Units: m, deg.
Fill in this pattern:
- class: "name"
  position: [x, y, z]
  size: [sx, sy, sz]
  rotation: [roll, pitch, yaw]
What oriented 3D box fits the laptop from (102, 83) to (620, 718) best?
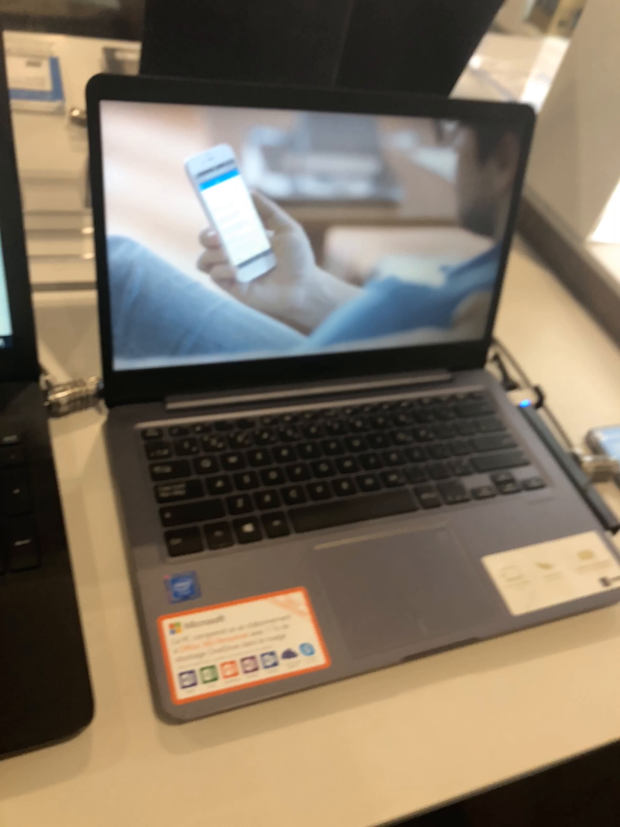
- class: "laptop"
  position: [0.050, -0.036, 0.437]
  size: [0.316, 0.196, 0.292]
  rotation: [-7, 49, -22]
